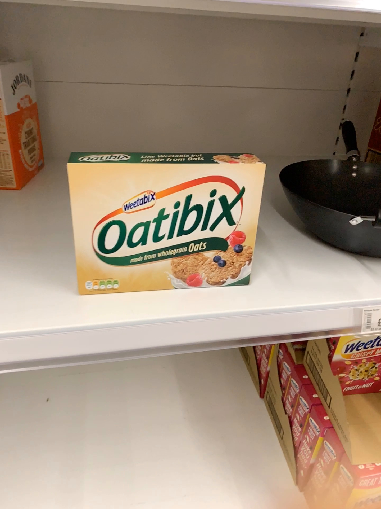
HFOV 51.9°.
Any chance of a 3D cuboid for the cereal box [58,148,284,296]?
[{"bbox_3d":[-0.027,-0.046,0.537,0.270,0.178,0.071,-2,30,-10],"label":"cereal box"}]
